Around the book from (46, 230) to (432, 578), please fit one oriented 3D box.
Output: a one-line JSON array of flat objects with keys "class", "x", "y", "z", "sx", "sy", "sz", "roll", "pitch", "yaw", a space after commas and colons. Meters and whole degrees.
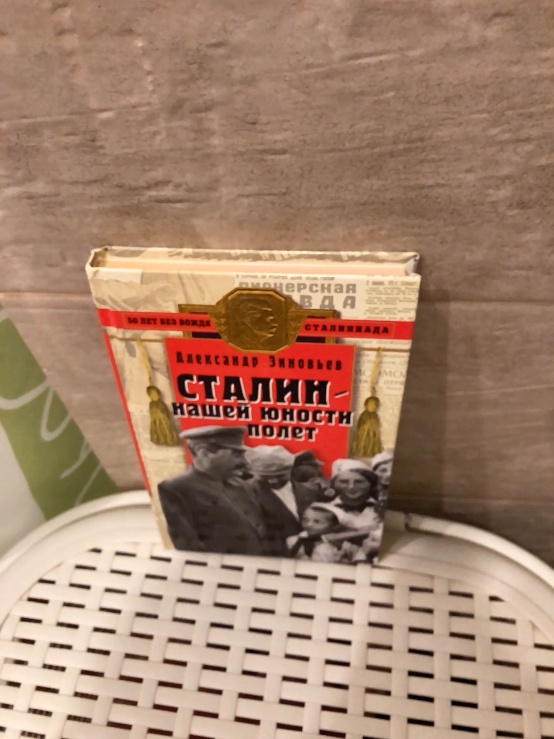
[{"class": "book", "x": -0.010, "y": 0.030, "z": 0.300, "sx": 0.140, "sy": 0.199, "sz": 0.030, "roll": 4, "pitch": 44, "yaw": 7}]
